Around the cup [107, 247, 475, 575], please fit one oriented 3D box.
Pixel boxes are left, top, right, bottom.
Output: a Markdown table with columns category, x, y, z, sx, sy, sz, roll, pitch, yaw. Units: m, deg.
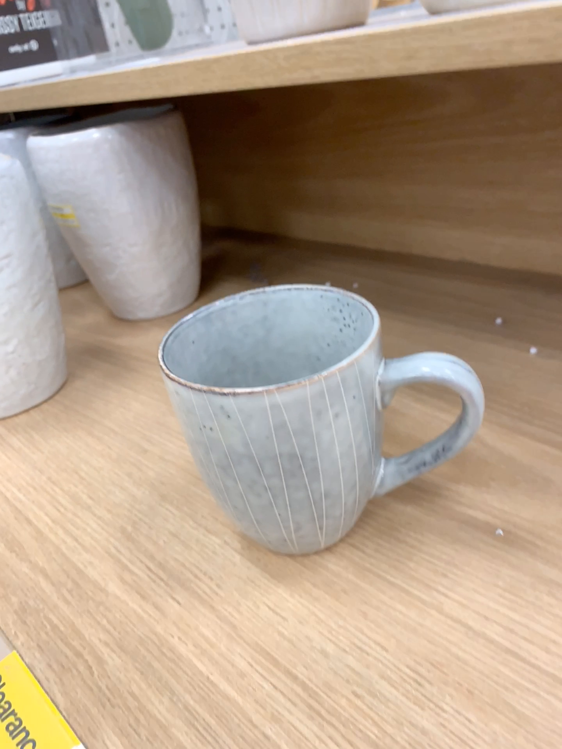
| category | x | y | z | sx | sy | sz | roll | pitch | yaw |
| --- | --- | --- | --- | --- | --- | --- | --- | --- | --- |
| cup | 0.018 | 0.012 | 0.278 | 0.136 | 0.098 | 0.108 | -1 | 34 | 17 |
